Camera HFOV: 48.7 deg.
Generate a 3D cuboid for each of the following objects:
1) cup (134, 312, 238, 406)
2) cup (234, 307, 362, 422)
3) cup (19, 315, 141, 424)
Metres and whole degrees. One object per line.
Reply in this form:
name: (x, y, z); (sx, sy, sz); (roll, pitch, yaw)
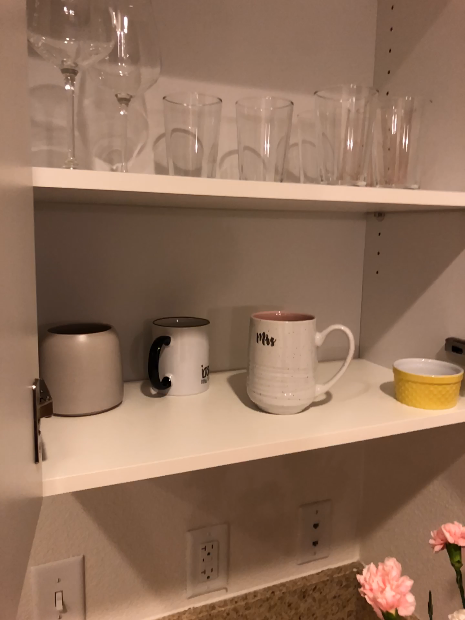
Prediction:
cup: (-0.057, 0.057, 0.662); (0.090, 0.090, 0.110); (5, 9, 25)
cup: (0.080, 0.061, 0.621); (0.140, 0.110, 0.090); (3, 8, 12)
cup: (-0.193, 0.065, 0.639); (0.110, 0.090, 0.150); (-4, 10, -30)
